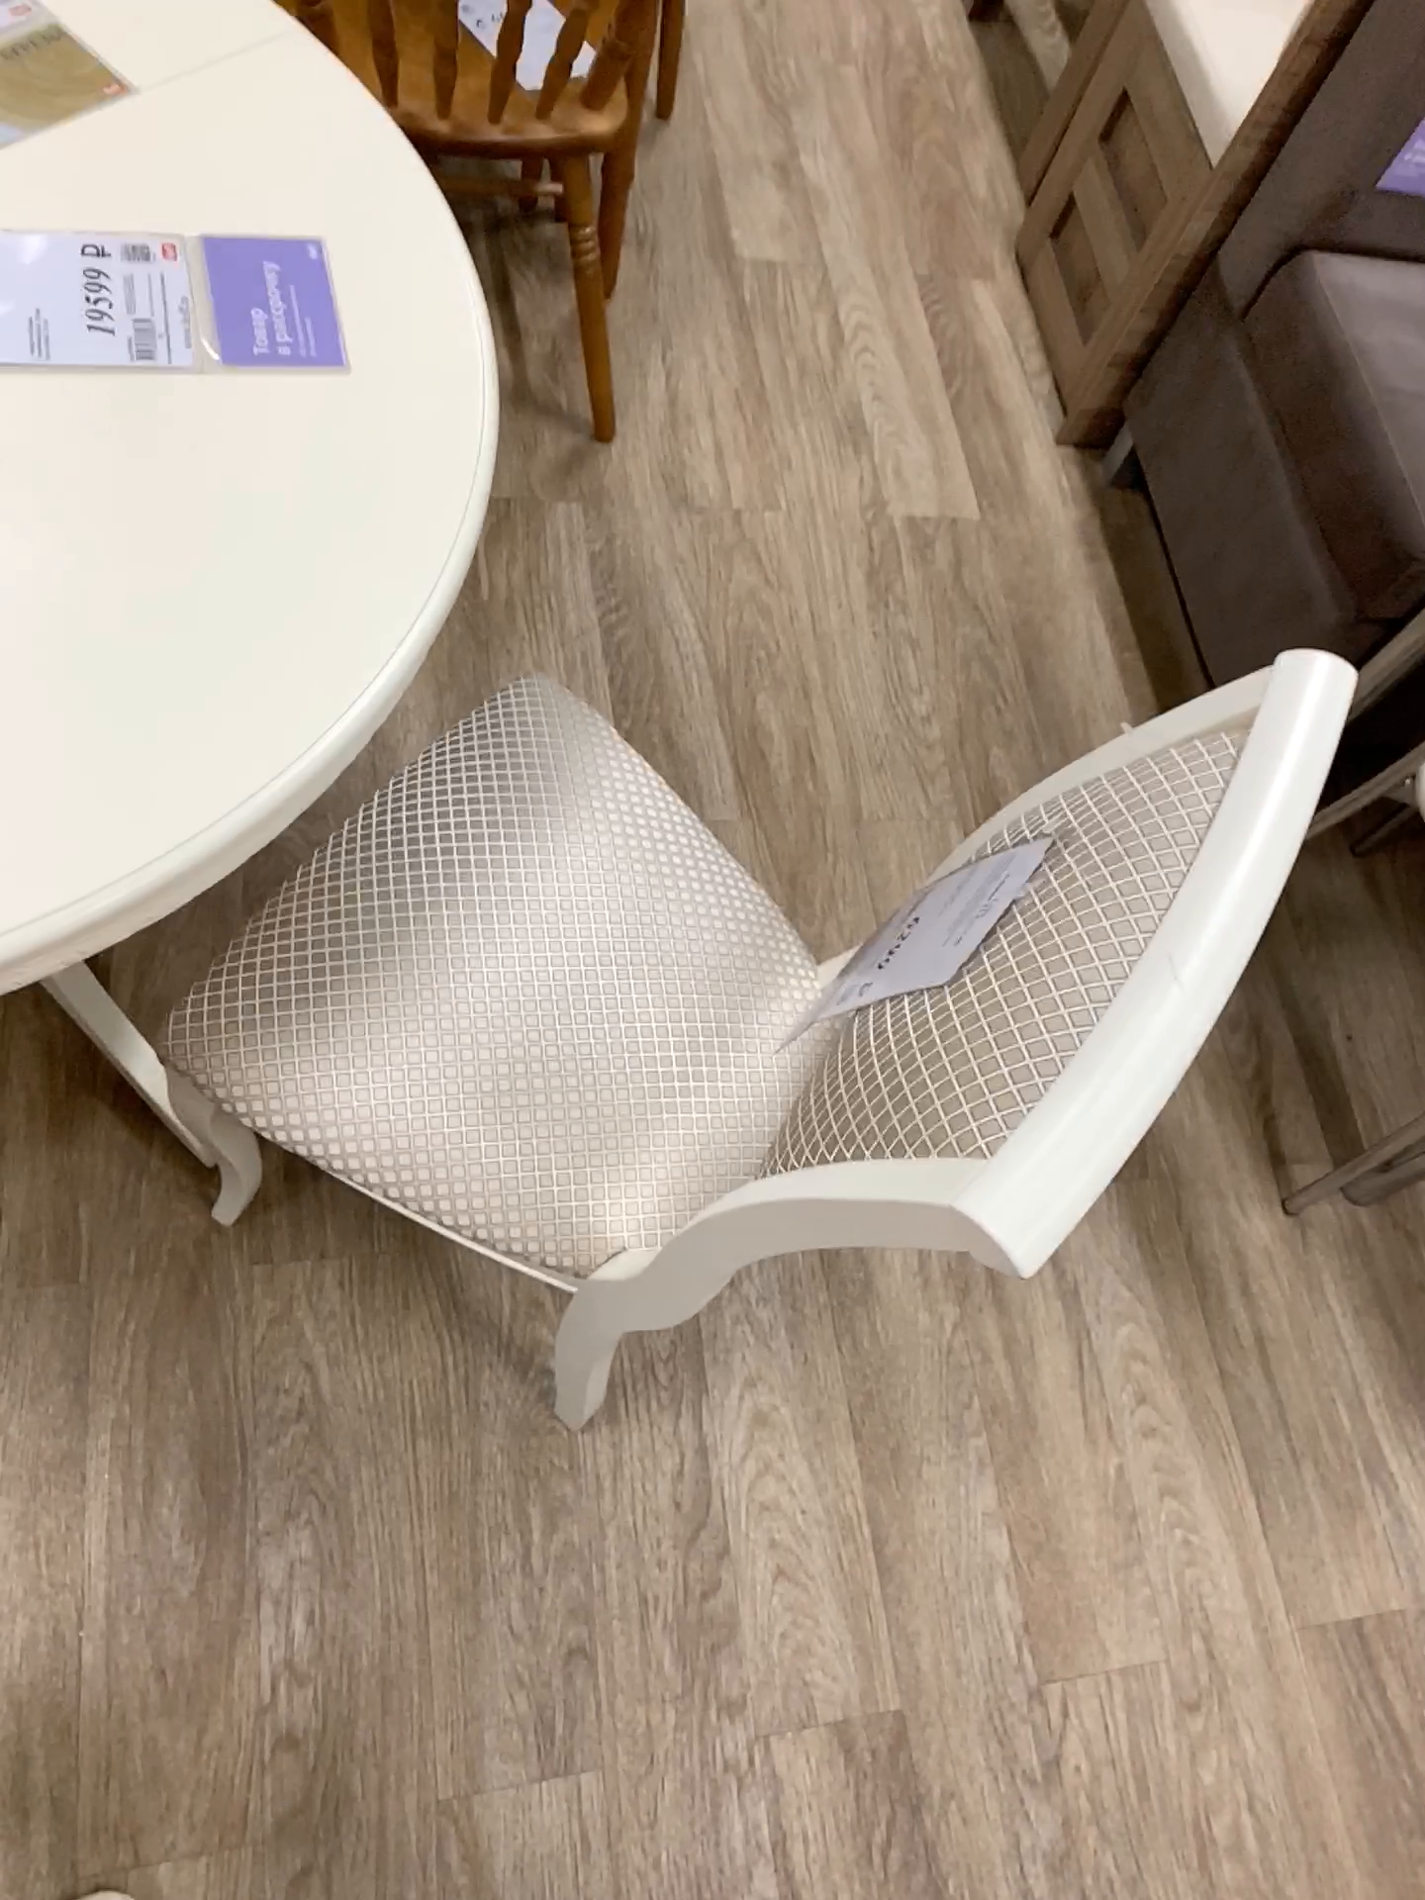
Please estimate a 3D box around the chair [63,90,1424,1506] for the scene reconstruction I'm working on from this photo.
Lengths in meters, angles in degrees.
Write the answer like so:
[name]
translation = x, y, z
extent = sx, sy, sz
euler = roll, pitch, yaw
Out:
[chair]
translation = -0.041, 0.021, 1.086
extent = 0.510, 0.908, 0.461
euler = 32, 61, 2
